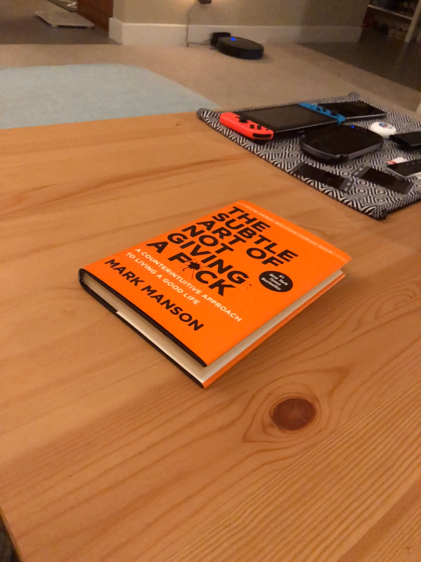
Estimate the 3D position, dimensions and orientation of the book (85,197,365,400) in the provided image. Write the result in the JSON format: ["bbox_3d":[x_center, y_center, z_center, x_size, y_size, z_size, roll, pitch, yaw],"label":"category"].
[{"bbox_3d":[0.021,-0.005,0.448,0.160,0.030,0.221,34,45,29],"label":"book"}]
